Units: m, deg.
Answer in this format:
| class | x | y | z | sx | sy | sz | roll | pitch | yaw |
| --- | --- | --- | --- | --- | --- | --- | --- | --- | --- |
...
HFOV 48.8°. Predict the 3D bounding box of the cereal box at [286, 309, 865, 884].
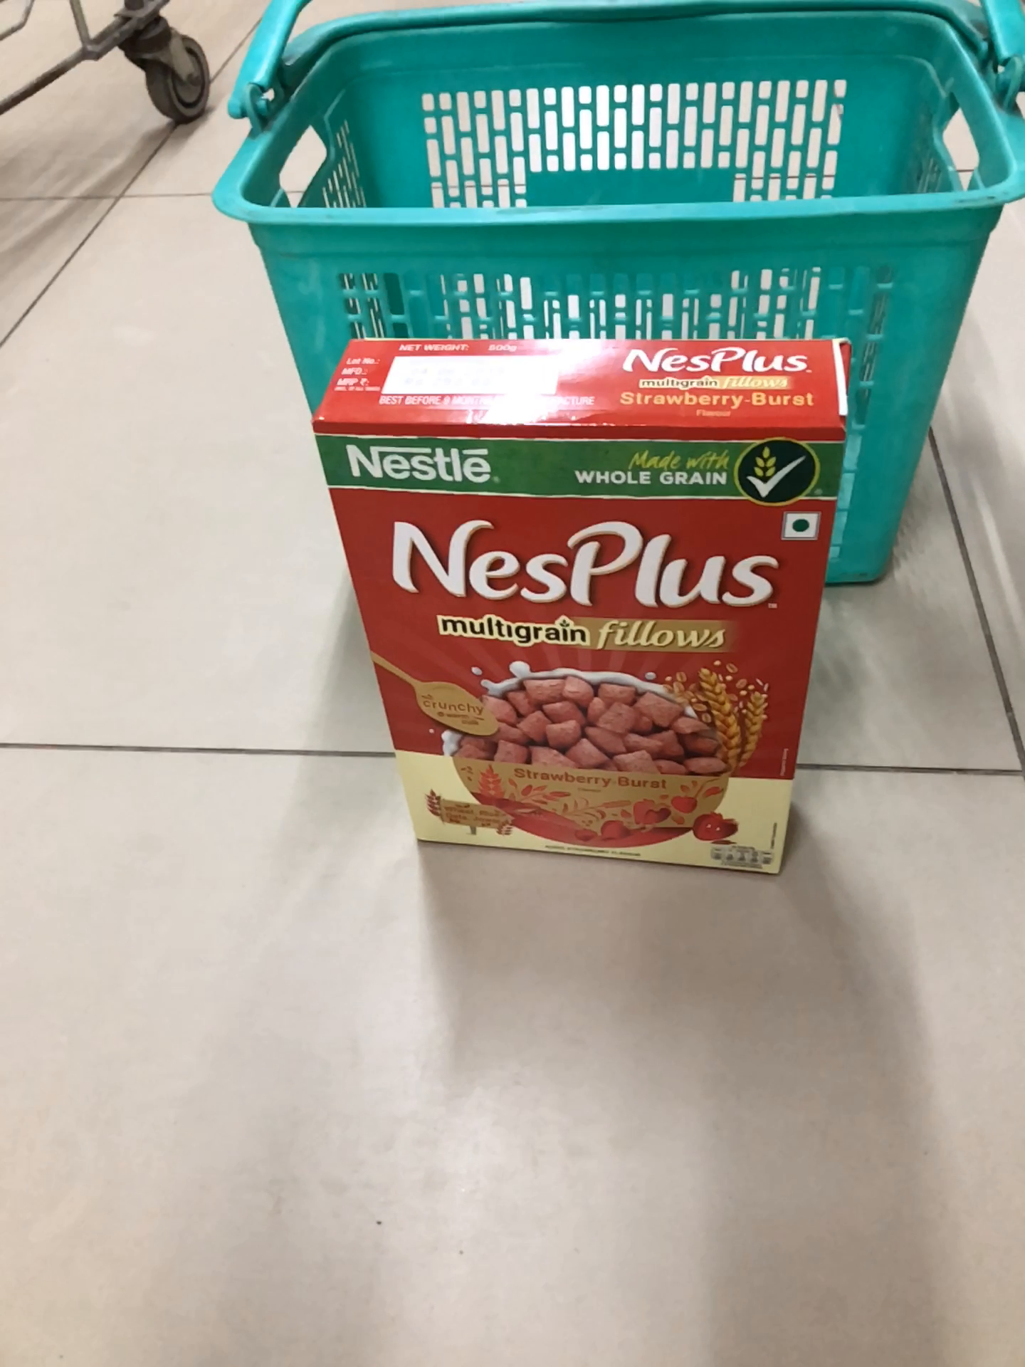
| class | x | y | z | sx | sy | sz | roll | pitch | yaw |
| --- | --- | --- | --- | --- | --- | --- | --- | --- | --- |
| cereal box | 0.031 | -0.023 | 0.481 | 0.190 | 0.258 | 0.060 | 4 | 47 | 10 |
